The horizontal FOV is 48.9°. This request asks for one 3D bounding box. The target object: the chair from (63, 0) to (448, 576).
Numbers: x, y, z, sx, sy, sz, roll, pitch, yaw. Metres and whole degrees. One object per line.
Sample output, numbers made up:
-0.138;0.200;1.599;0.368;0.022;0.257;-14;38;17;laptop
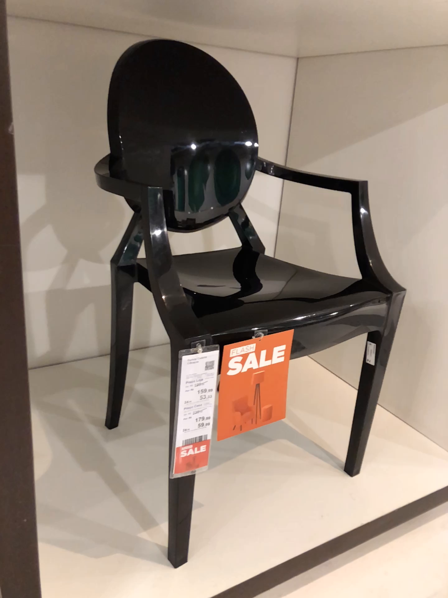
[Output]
0.027;-0.064;0.995;0.511;0.855;0.492;-10;24;-34;chair
